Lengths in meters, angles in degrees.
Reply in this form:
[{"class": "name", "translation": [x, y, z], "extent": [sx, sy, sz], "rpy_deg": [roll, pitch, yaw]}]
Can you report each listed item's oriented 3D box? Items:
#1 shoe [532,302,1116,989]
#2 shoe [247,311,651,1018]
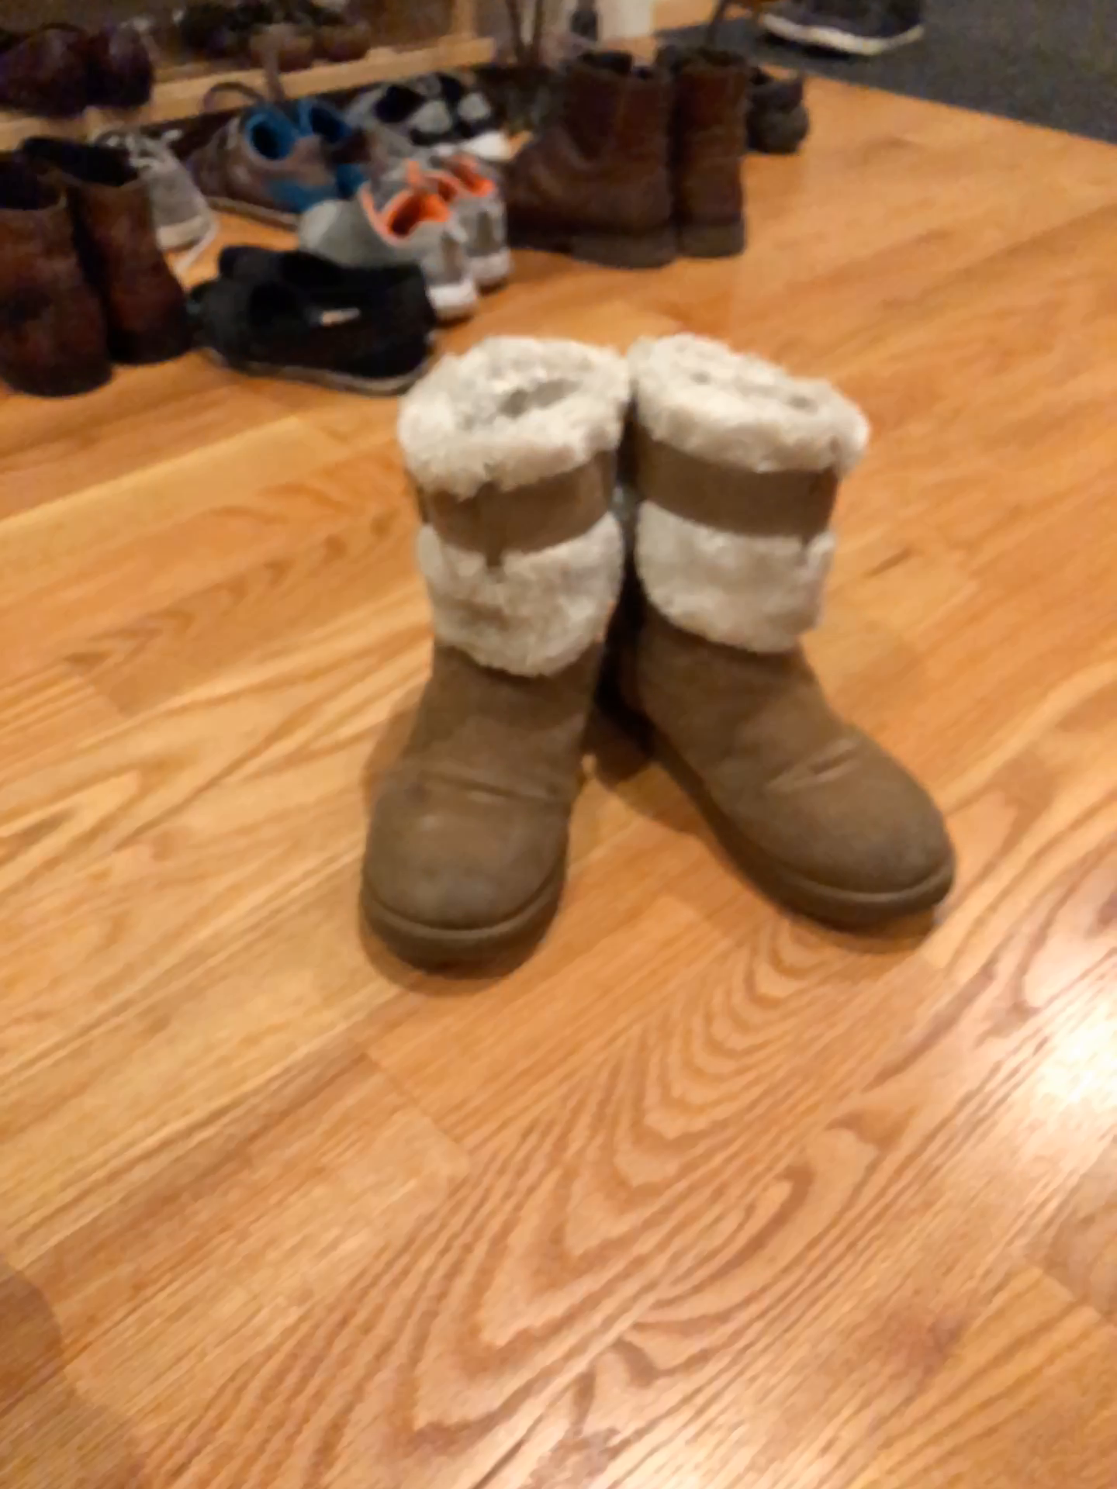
[{"class": "shoe", "translation": [0.102, -0.059, 0.580], "extent": [0.113, 0.193, 0.255], "rpy_deg": [-20, 44, -25]}, {"class": "shoe", "translation": [-0.031, -0.048, 0.558], "extent": [0.106, 0.193, 0.256], "rpy_deg": [7, 40, 6]}]
